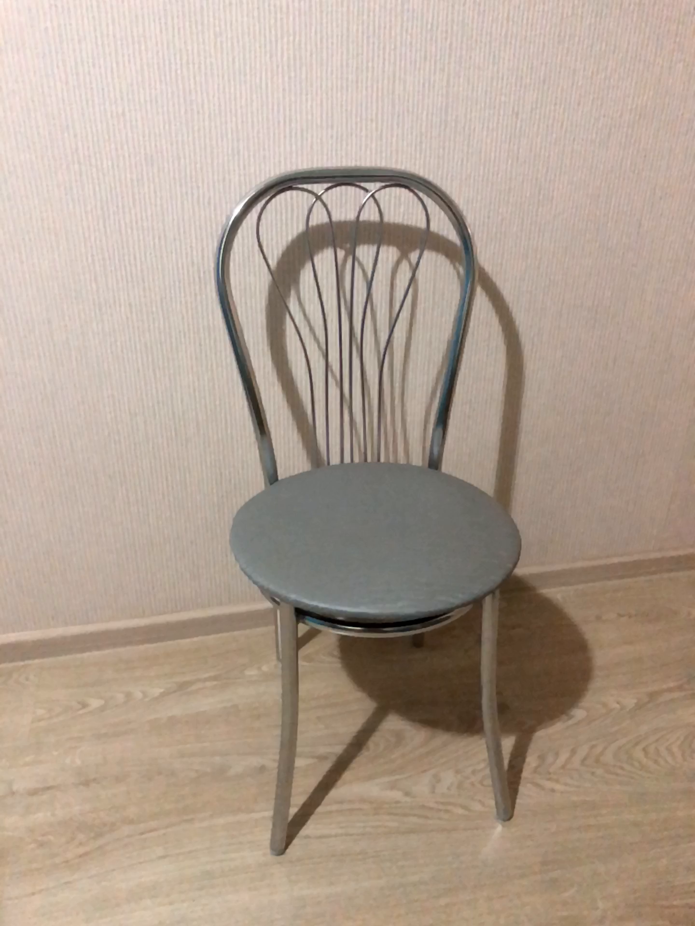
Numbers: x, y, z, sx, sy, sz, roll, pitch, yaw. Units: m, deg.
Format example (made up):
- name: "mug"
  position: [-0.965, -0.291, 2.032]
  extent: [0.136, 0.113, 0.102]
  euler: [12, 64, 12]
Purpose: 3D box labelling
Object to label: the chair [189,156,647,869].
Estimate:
- name: "chair"
  position: [0.028, 0.047, 1.044]
  extent: [0.400, 0.825, 0.473]
  euler: [-3, 28, -8]
